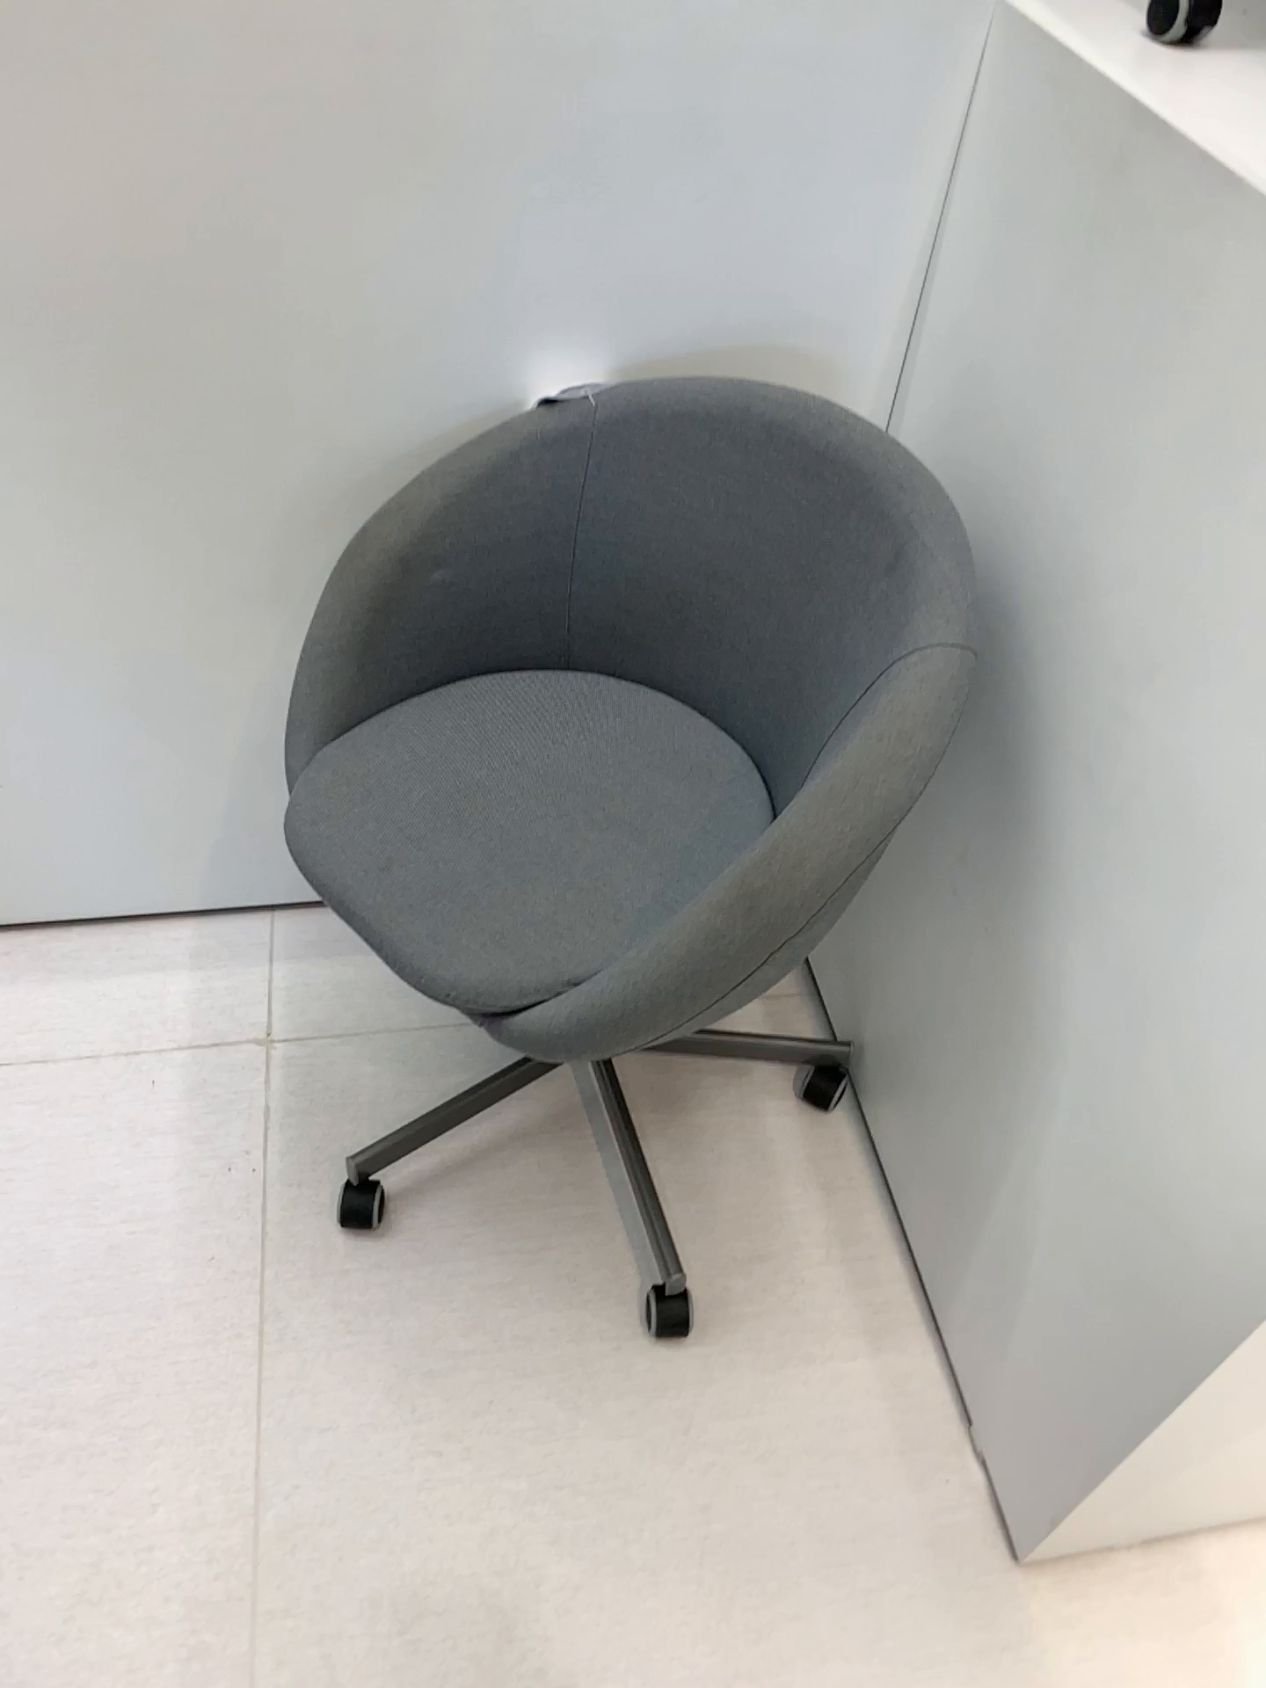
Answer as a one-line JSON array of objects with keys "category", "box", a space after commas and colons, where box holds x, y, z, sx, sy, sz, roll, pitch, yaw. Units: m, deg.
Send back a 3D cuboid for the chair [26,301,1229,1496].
[{"category": "chair", "box": [-0.001, 0.007, 1.433, 0.721, 0.767, 0.832, 35, 51, 24]}]
